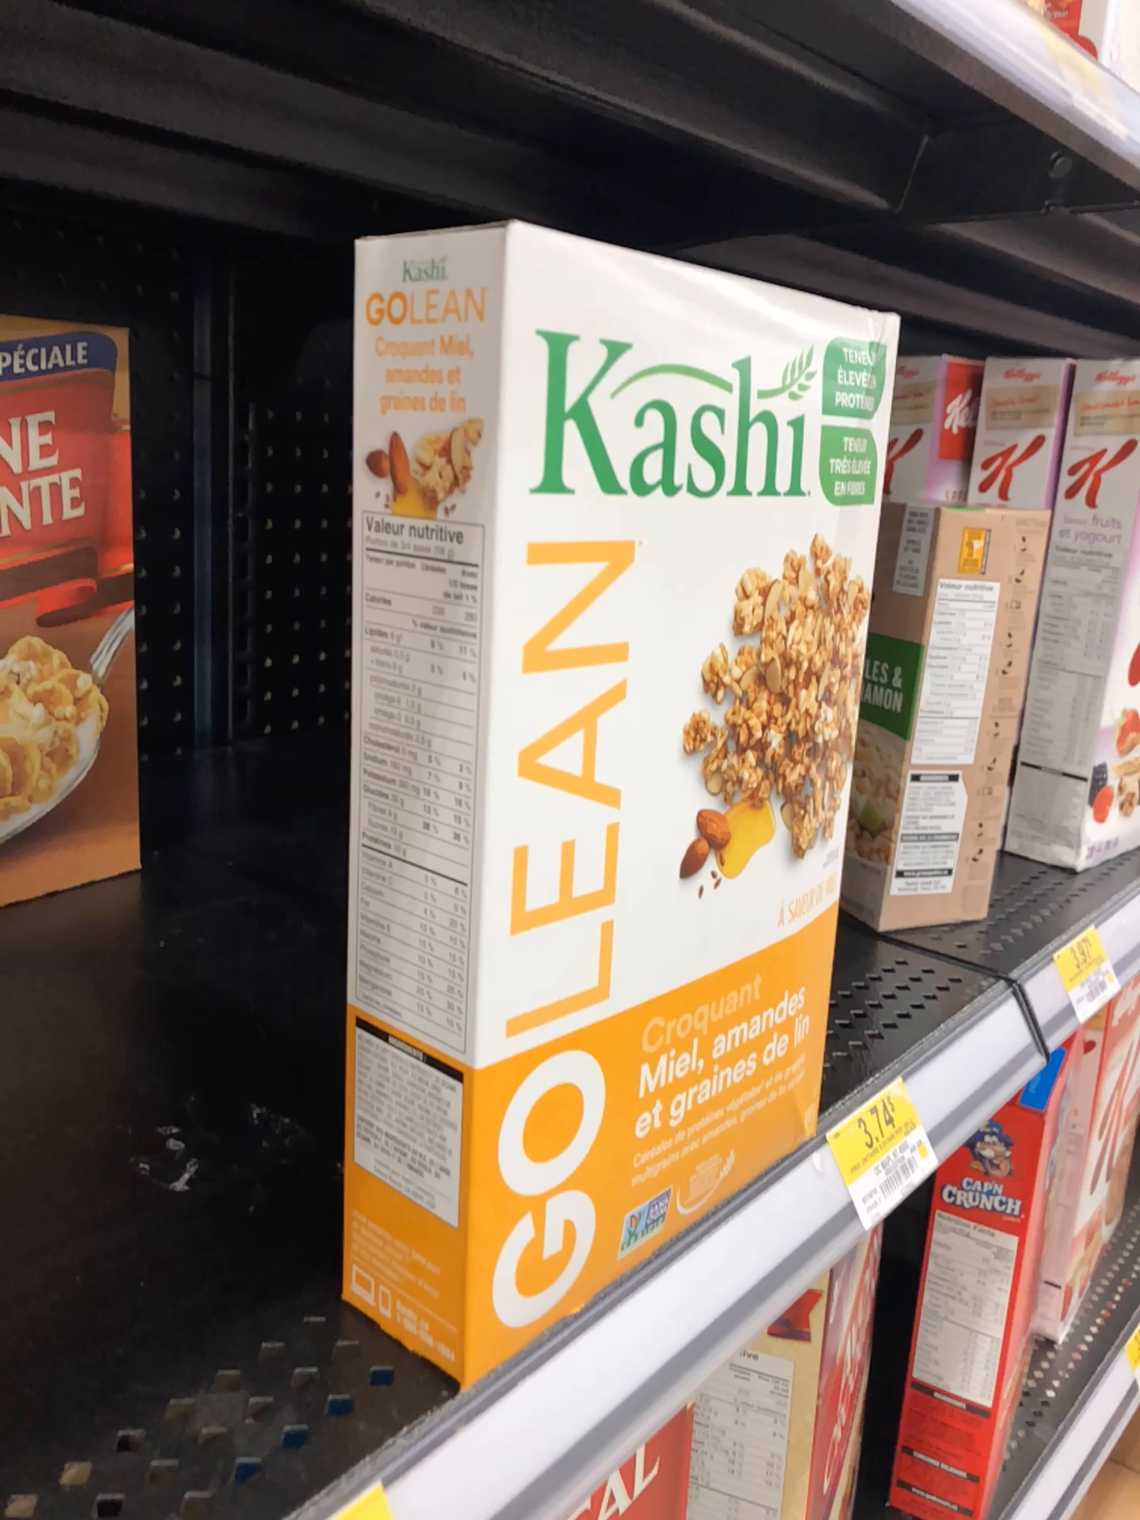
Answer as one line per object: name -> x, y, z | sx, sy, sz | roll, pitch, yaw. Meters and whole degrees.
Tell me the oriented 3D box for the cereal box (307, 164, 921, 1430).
cereal box -> 0.016, 0.005, 0.337 | 0.050, 0.269, 0.170 | 14, 17, 39
